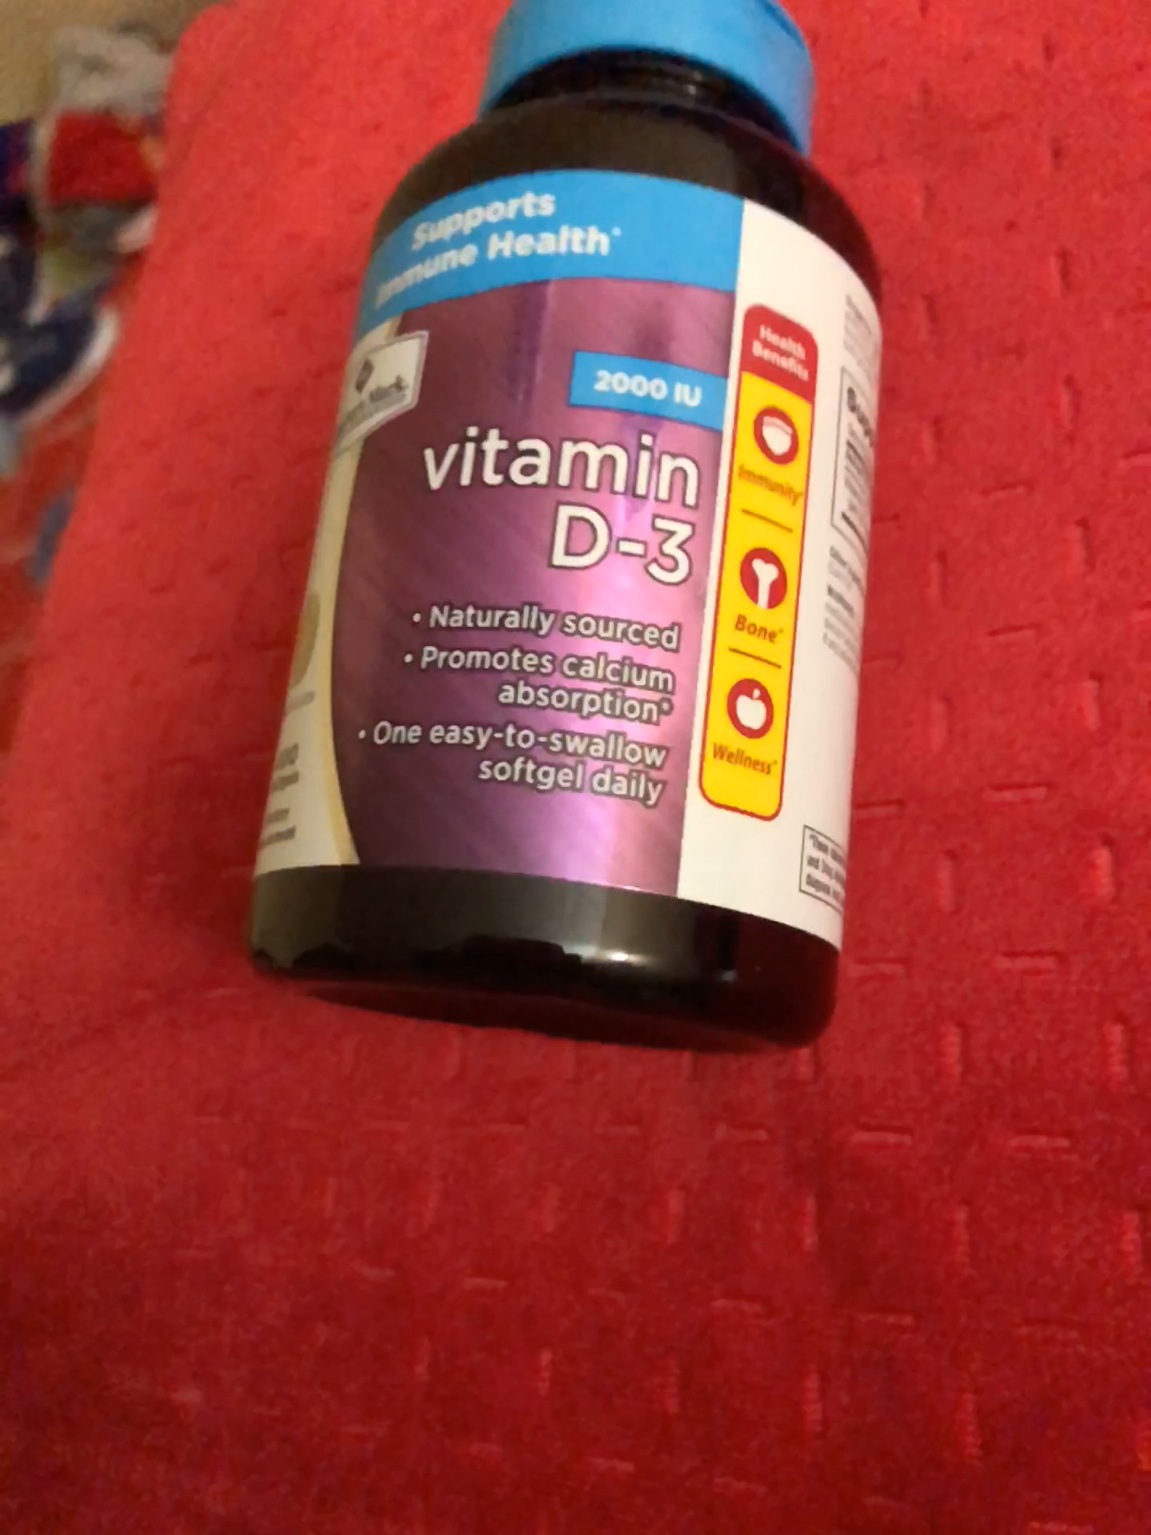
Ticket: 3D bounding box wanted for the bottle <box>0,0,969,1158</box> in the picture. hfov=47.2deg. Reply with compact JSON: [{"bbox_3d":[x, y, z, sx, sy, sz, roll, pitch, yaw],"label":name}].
[{"bbox_3d":[-0.004,-0.035,0.141,0.070,0.060,0.140,-4,74,34],"label":"bottle"}]
